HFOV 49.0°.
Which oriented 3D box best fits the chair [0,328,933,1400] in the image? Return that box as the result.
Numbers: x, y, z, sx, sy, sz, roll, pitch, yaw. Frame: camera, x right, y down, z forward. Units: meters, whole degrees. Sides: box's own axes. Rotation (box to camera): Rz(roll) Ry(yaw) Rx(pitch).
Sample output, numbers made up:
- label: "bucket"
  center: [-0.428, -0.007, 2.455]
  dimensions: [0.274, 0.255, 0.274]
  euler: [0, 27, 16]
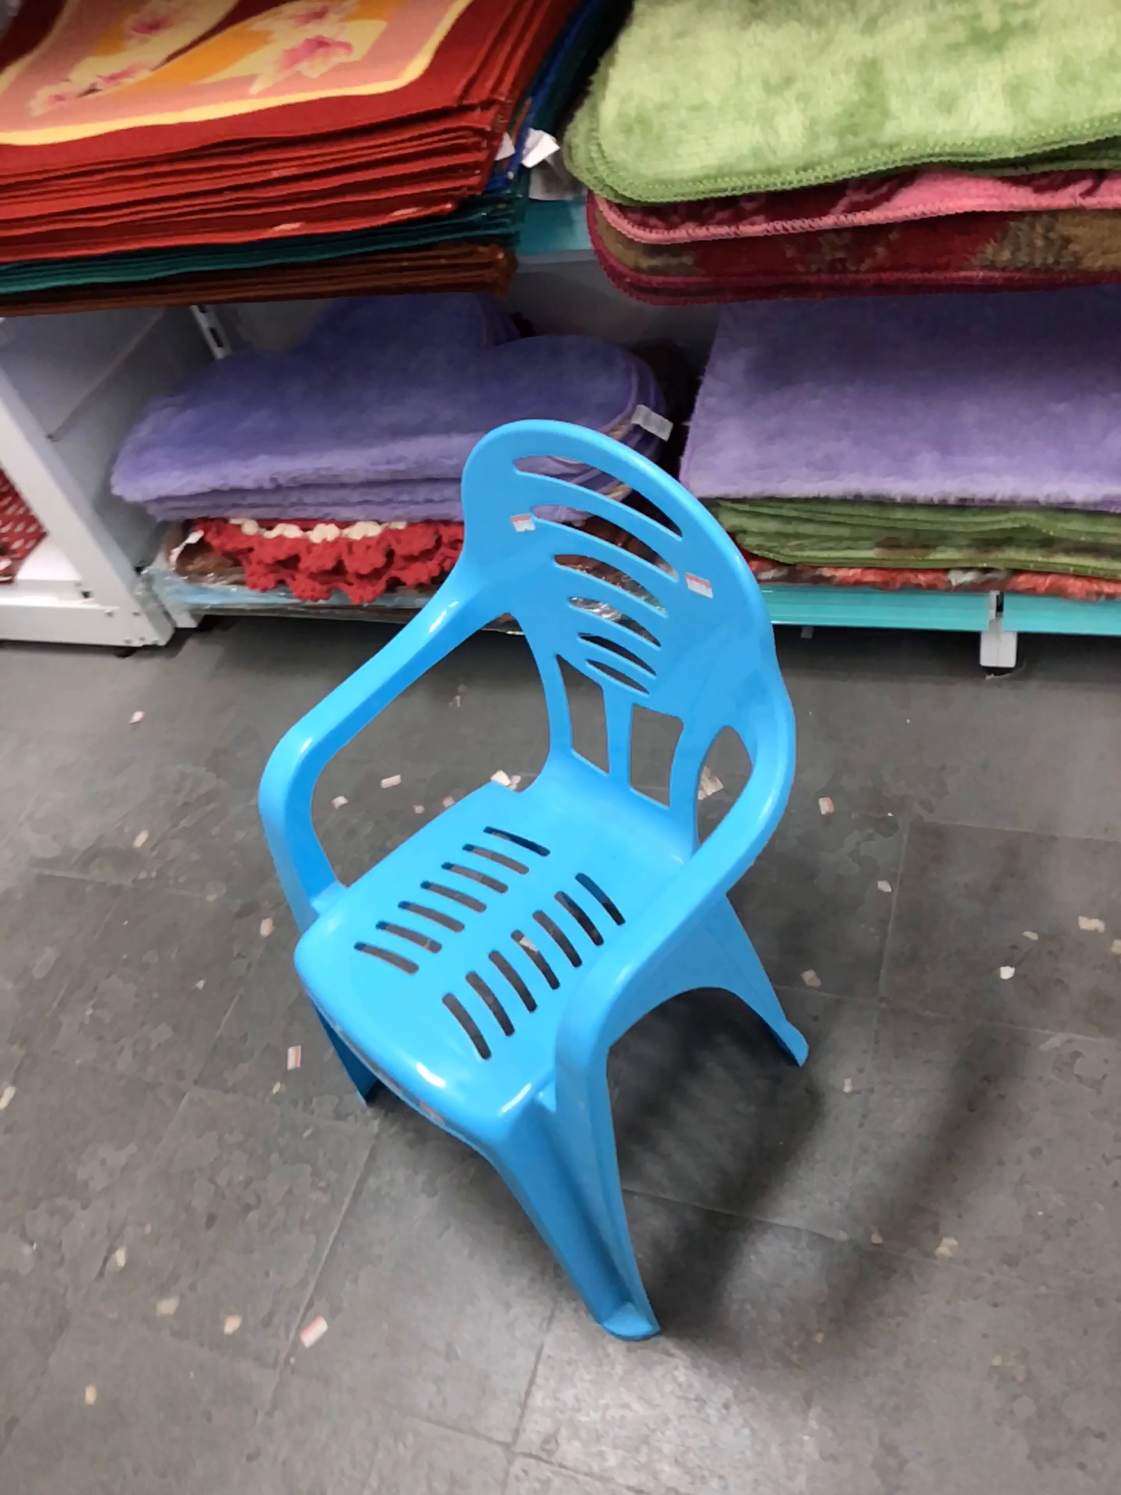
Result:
- label: "chair"
  center: [-0.030, 0.083, 0.860]
  dimensions: [0.402, 0.516, 0.391]
  euler: [31, 65, 36]
